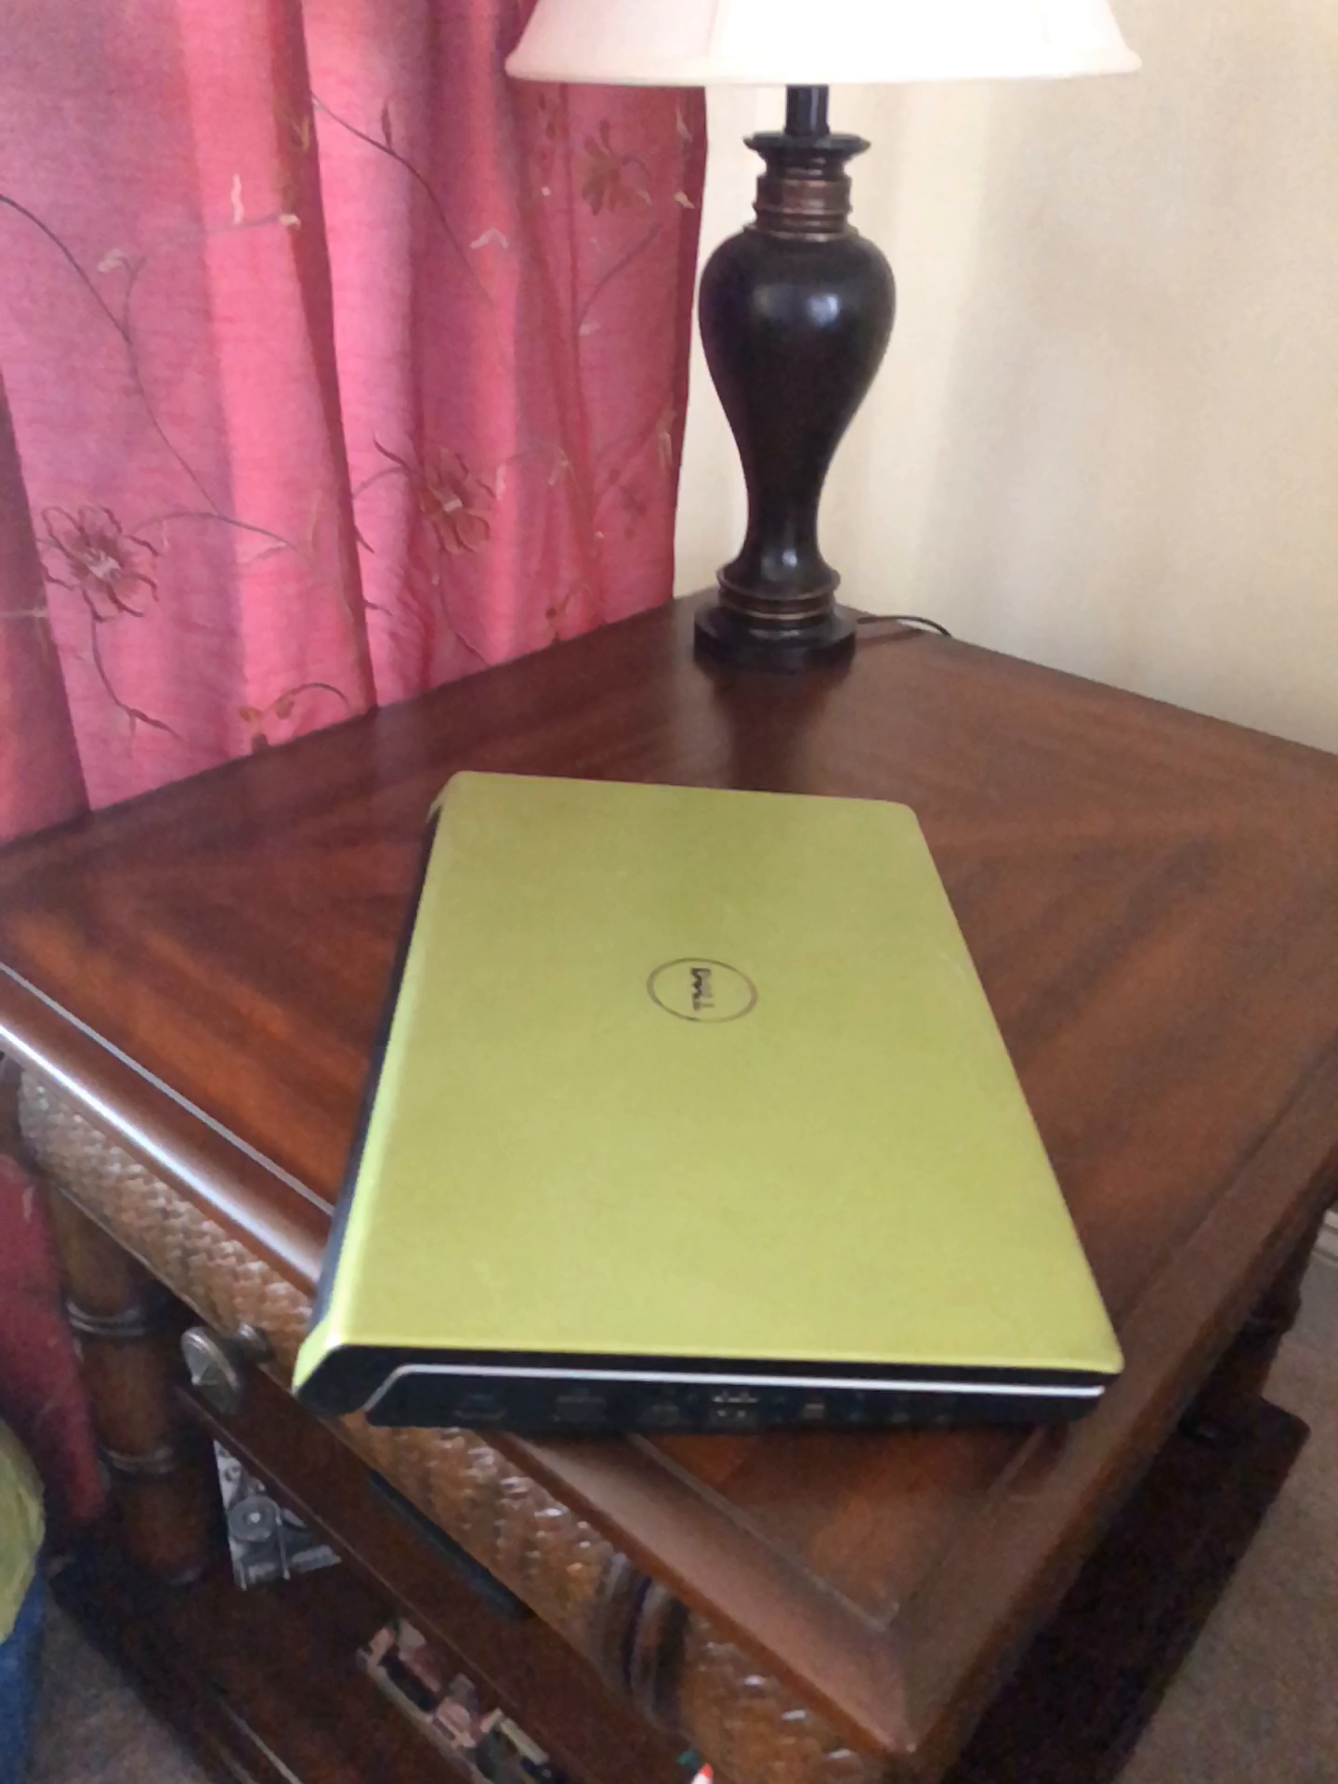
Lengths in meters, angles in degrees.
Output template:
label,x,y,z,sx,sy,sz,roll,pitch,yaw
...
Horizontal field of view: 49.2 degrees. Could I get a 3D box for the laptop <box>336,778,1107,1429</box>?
label,x,y,z,sx,sy,sz,roll,pitch,yaw
laptop,0.012,0.056,0.611,0.236,0.020,0.380,5,30,-5
